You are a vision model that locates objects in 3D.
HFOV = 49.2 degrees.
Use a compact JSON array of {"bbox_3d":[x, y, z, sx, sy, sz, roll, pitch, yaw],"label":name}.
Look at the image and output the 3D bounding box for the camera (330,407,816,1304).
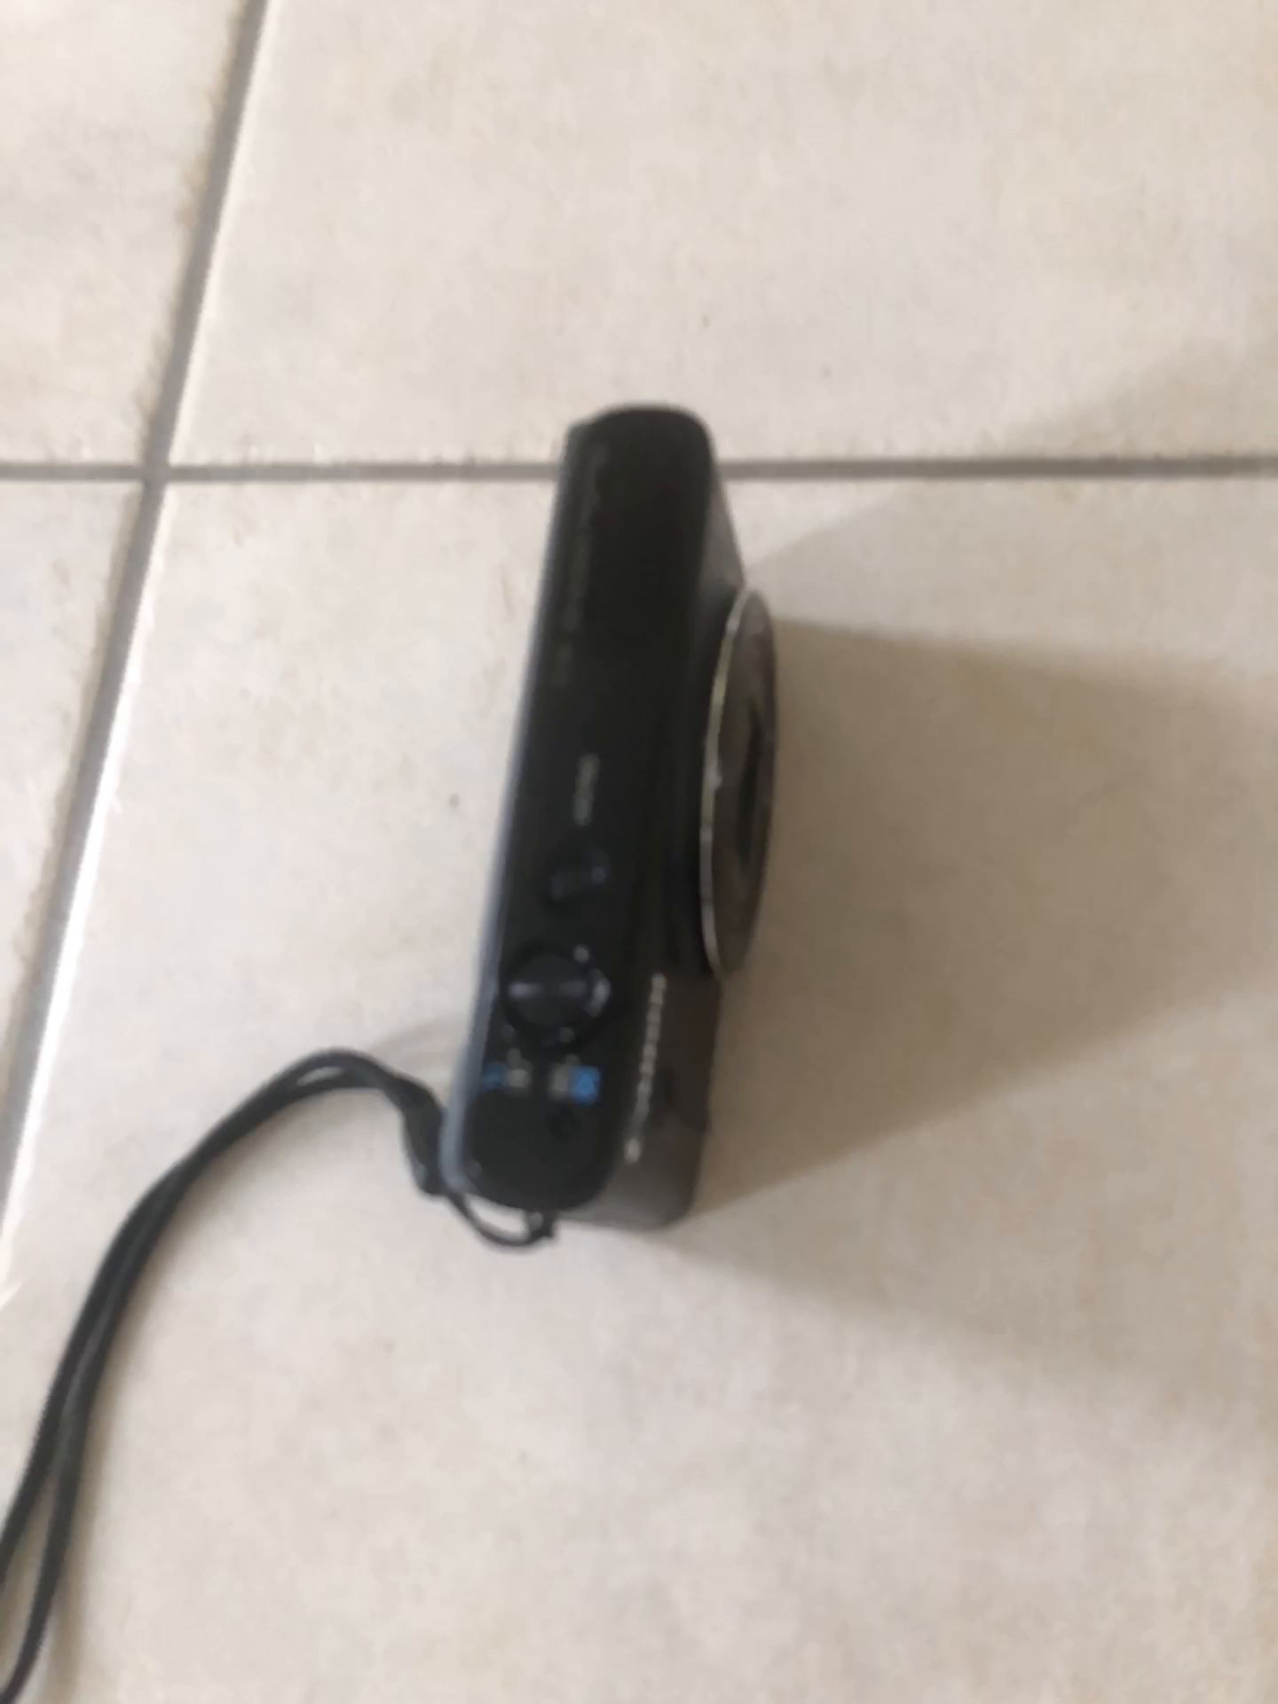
[{"bbox_3d":[-0.002,0.003,0.197,0.040,0.060,0.110,5,74,12],"label":"camera"}]
